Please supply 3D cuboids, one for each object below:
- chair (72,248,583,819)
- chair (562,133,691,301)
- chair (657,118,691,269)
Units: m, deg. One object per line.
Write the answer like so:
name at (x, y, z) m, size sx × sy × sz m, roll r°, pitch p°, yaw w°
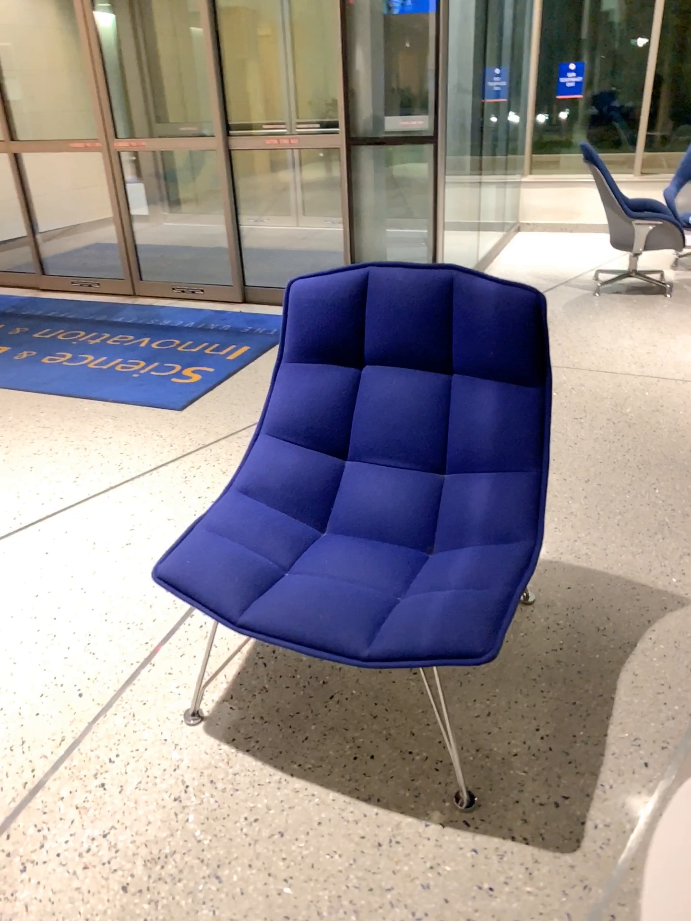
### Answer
chair at (0.046, 0.068, 1.653) m, size 0.809 × 0.933 × 0.785 m, roll 8°, pitch 29°, yaw 21°
chair at (1.926, -1.656, 4.725) m, size 0.771 × 0.933 × 0.806 m, roll 7°, pitch 28°, yaw 18°
chair at (2.767, -1.997, 5.224) m, size 0.671 × 0.943 × 0.775 m, roll 7°, pitch 28°, yaw 18°
